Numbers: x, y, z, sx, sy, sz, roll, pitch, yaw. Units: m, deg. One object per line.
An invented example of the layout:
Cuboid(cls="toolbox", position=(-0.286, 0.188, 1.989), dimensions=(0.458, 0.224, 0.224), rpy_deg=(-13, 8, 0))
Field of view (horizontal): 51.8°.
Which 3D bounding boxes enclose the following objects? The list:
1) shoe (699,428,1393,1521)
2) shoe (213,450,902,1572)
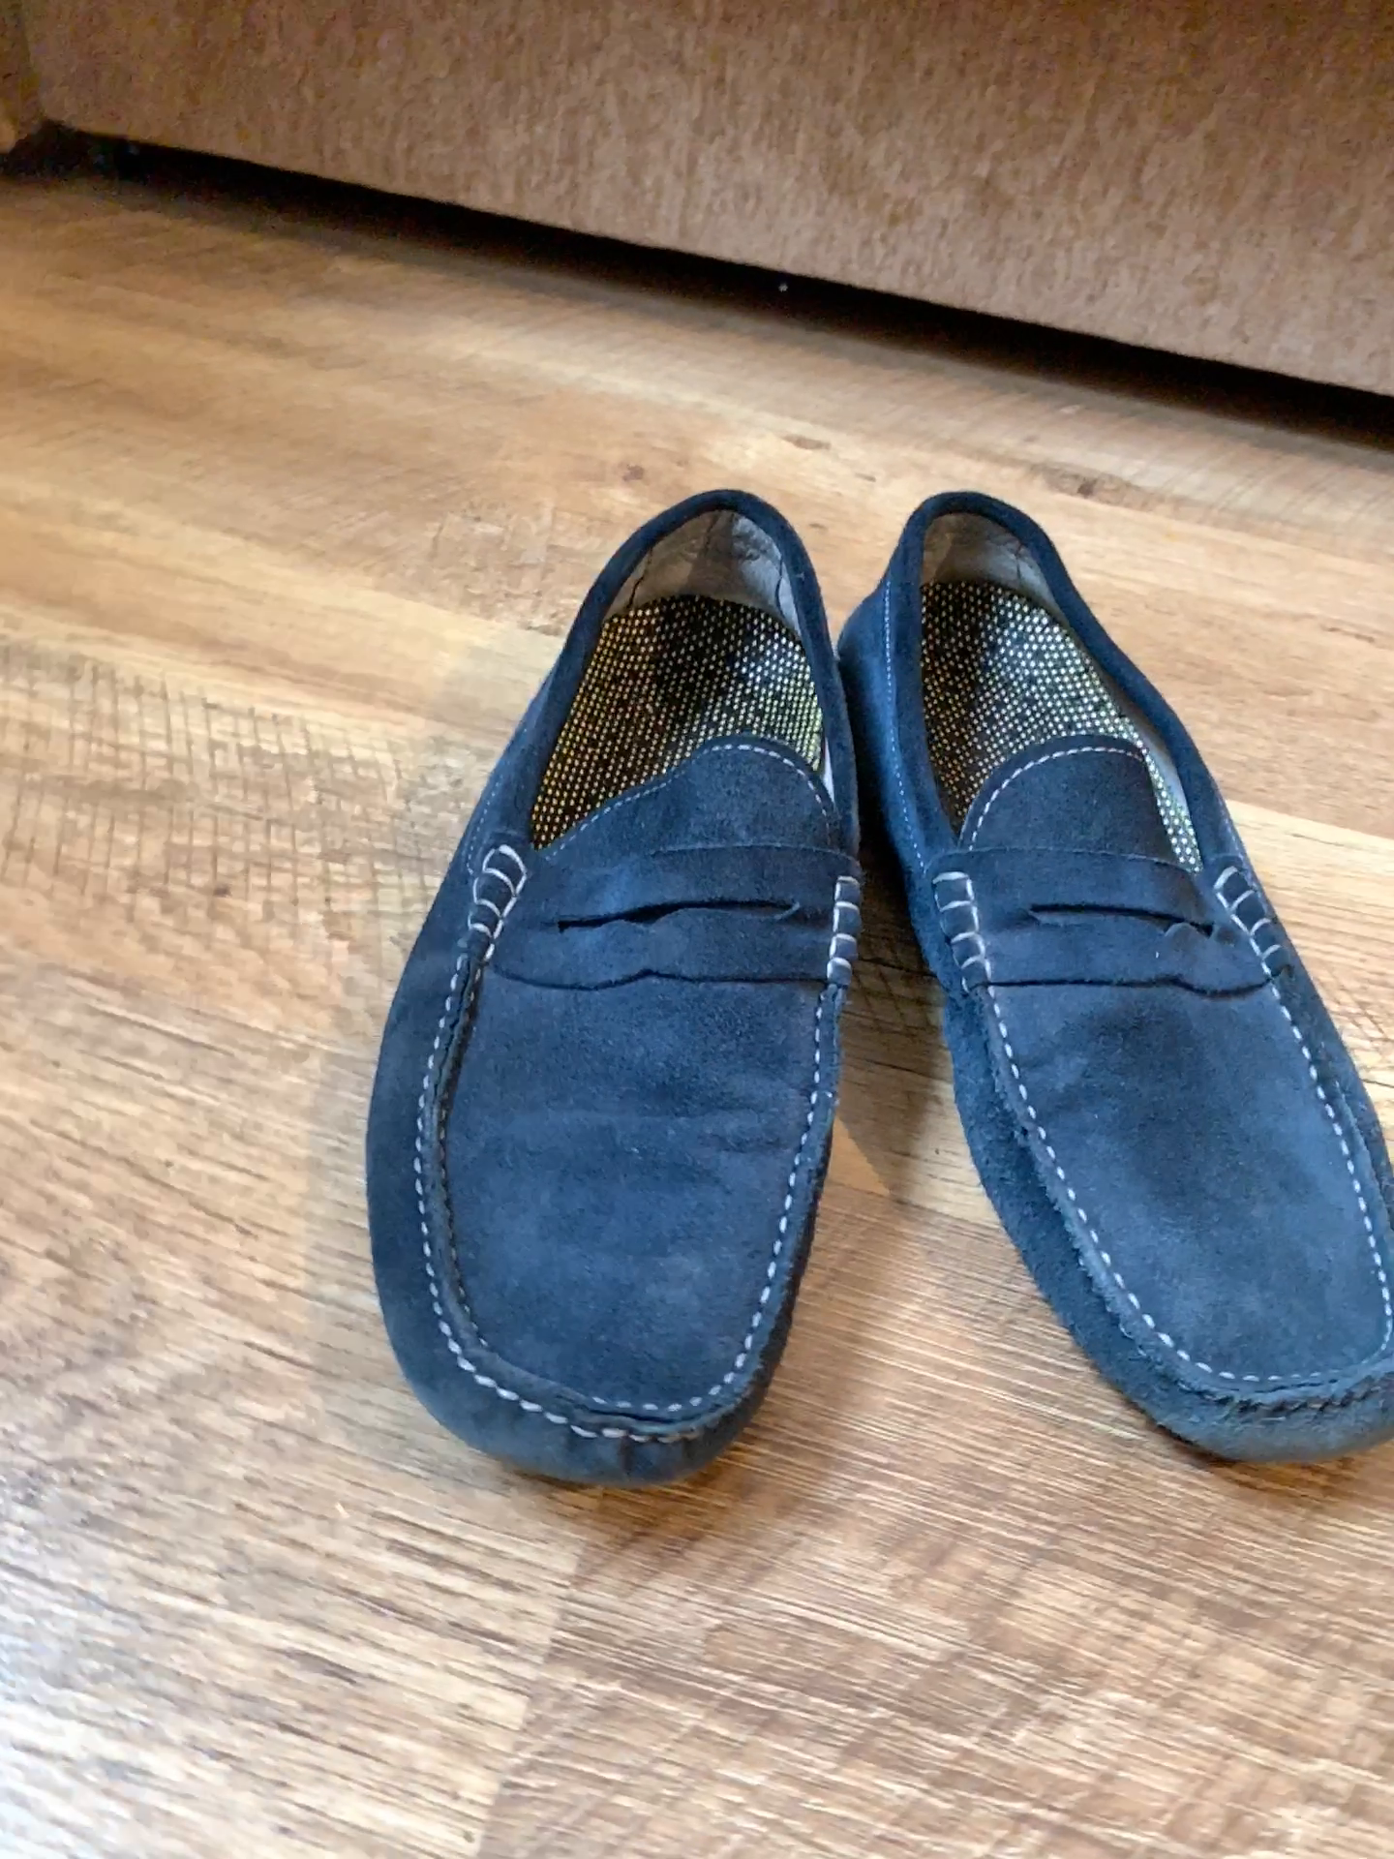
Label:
Cuboid(cls="shoe", position=(0.083, -0.022, 0.348), dimensions=(0.110, 0.070, 0.291), rpy_deg=(-3, 45, -11))
Cuboid(cls="shoe", position=(-0.011, -0.010, 0.329), dimensions=(0.100, 0.070, 0.271), rpy_deg=(8, 43, 0))
